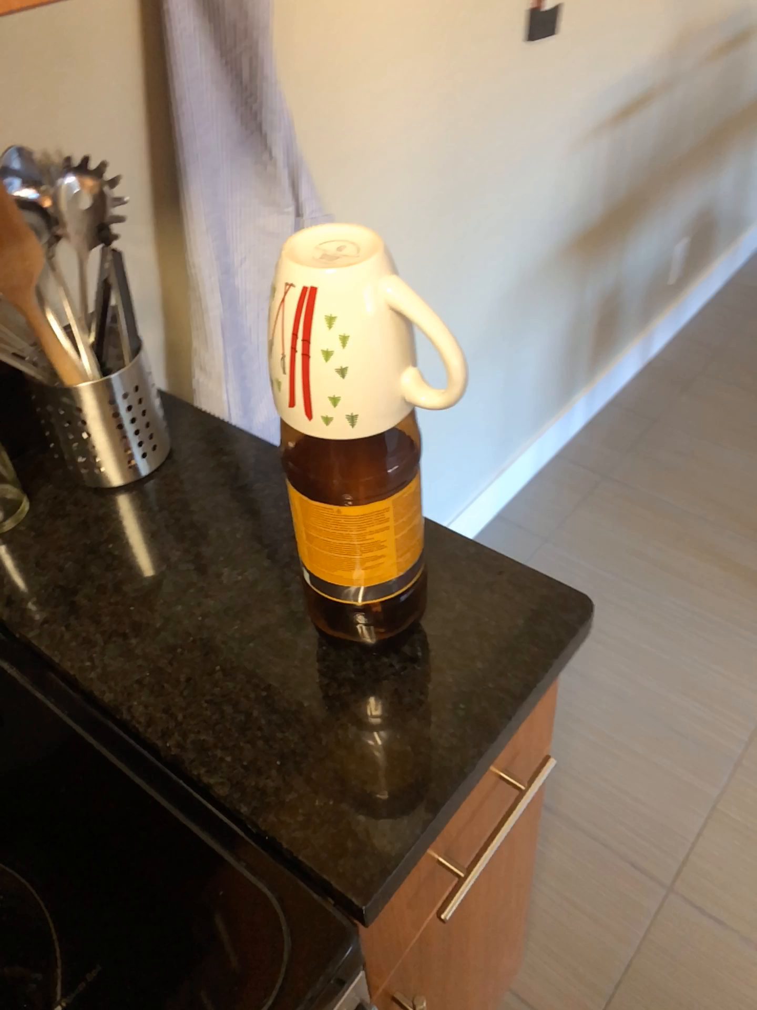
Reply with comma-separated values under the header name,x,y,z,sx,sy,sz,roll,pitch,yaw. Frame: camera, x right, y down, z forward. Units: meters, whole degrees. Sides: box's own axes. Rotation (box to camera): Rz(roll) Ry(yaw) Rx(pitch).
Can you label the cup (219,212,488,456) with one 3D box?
name,x,y,z,sx,sy,sz,roll,pitch,yaw
cup,-0.009,-0.113,0.539,0.140,0.109,0.100,7,41,14
